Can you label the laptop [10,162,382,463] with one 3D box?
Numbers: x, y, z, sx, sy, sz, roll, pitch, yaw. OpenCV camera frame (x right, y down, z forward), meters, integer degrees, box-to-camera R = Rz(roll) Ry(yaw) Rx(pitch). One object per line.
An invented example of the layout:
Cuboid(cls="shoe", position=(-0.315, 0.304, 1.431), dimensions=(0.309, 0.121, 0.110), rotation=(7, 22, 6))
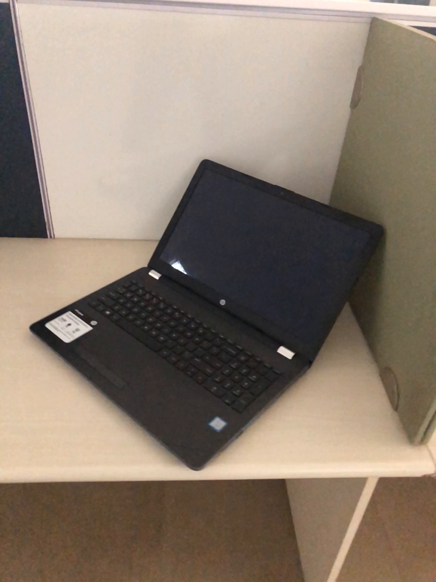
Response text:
Cuboid(cls="laptop", position=(-0.026, -0.021, 0.739), dimensions=(0.366, 0.167, 0.395), rotation=(29, 43, 32))
